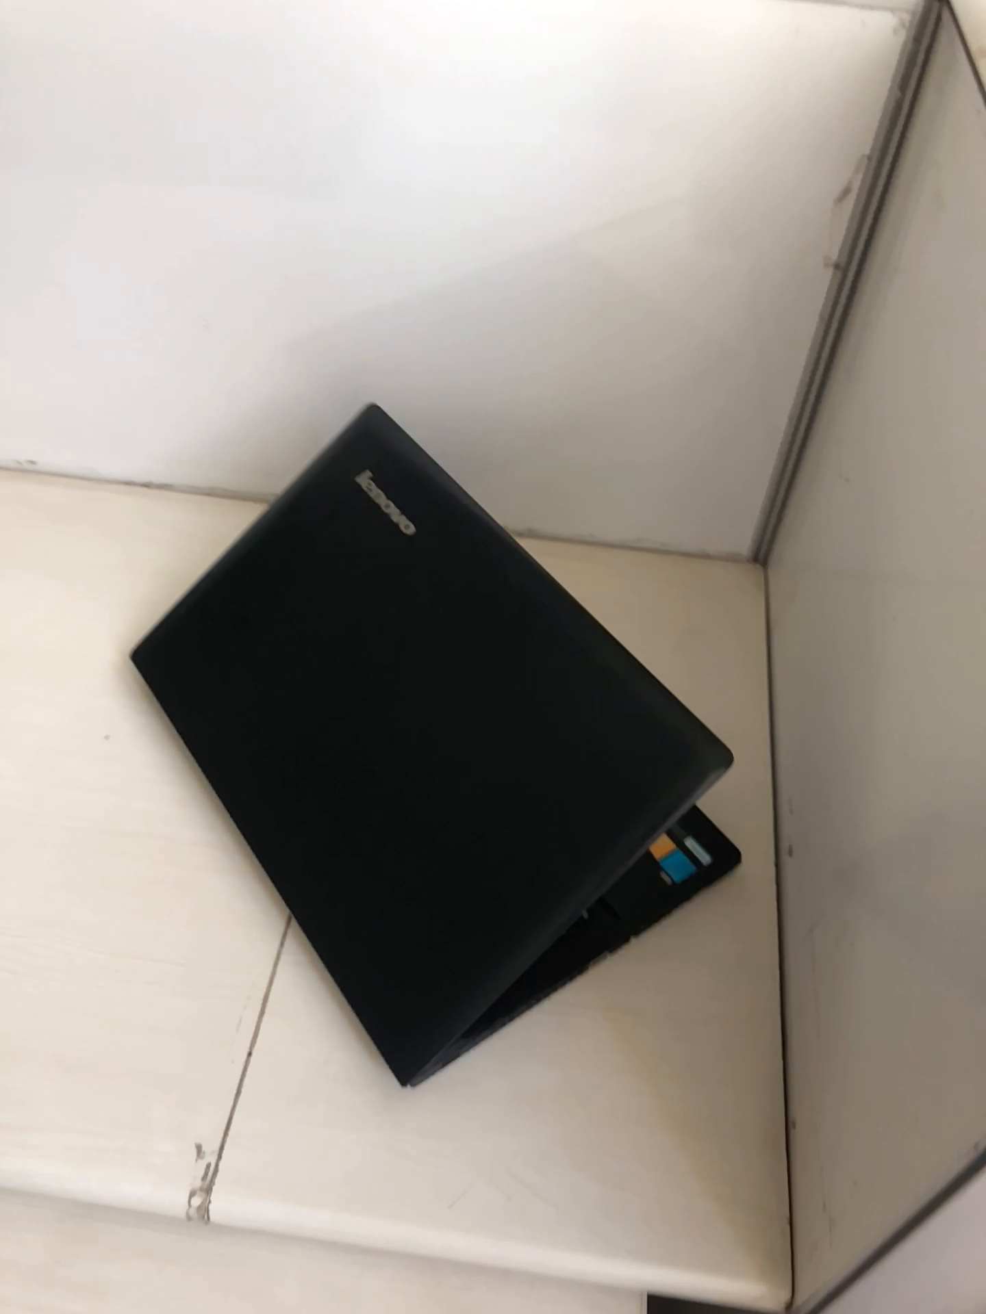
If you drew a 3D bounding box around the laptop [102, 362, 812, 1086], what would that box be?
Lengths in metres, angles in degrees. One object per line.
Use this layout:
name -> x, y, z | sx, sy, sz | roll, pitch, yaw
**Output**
laptop -> -0.044, 0.017, 0.702 | 0.253, 0.162, 0.375 | -28, 56, -21
